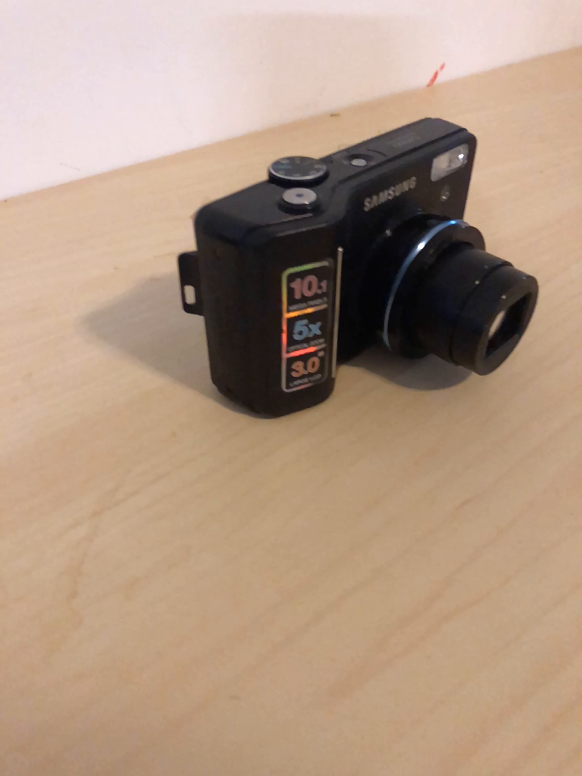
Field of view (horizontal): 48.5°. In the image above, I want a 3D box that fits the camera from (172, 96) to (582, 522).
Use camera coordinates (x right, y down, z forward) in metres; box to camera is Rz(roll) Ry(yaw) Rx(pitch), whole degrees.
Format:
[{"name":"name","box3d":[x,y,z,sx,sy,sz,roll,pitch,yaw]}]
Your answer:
[{"name":"camera","box3d":[0.033,-0.032,0.199,0.110,0.070,0.070,-32,52,-30]}]
